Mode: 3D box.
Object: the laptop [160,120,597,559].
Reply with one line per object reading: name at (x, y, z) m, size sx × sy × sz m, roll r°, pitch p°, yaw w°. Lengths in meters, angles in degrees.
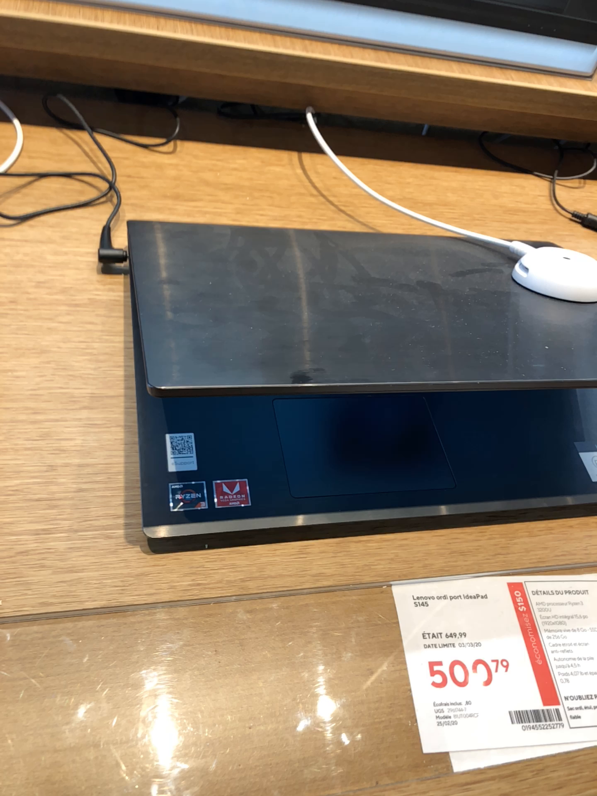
laptop at (0.092, -0.046, 0.398) m, size 0.331 × 0.083 × 0.224 m, roll -2°, pitch 55°, yaw -19°
